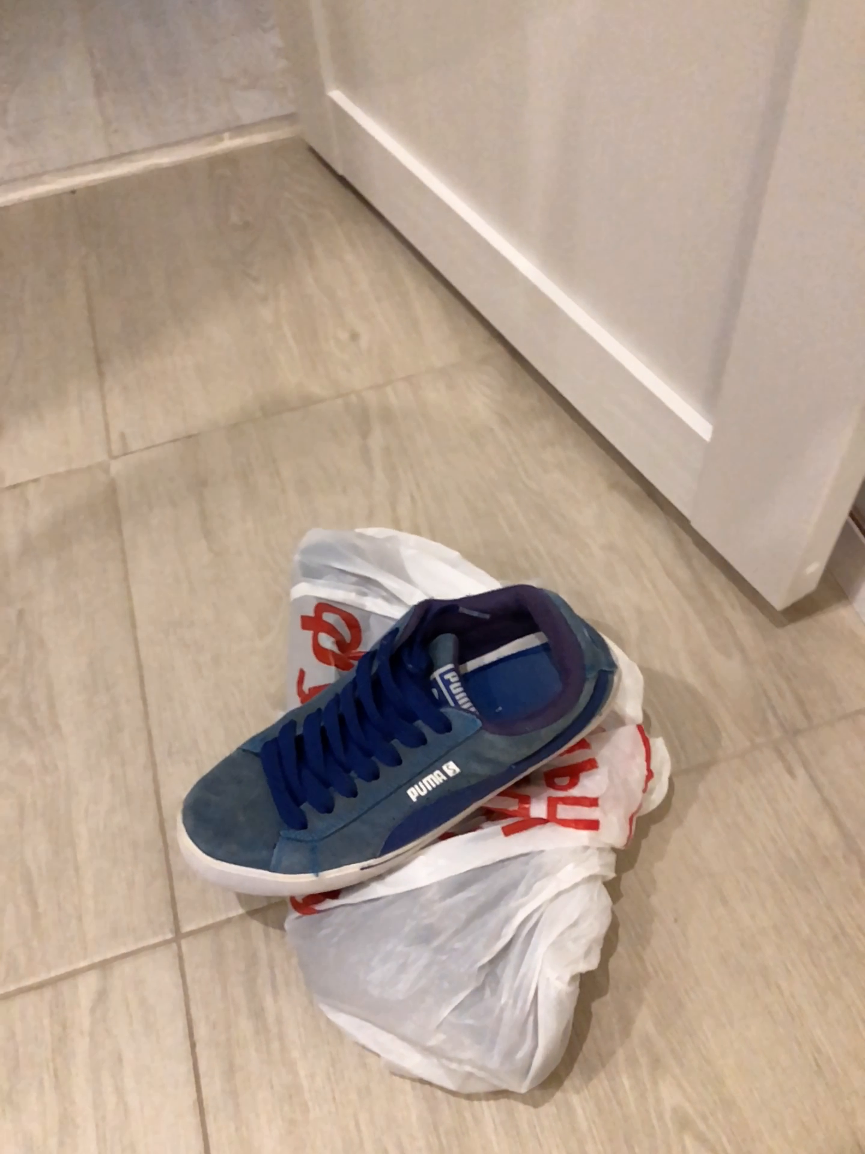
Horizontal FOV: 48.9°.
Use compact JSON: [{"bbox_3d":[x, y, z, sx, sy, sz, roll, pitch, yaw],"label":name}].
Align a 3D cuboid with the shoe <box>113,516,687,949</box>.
[{"bbox_3d":[-0.015,0.086,0.560,0.300,0.099,0.111,-22,49,-9],"label":"shoe"}]
